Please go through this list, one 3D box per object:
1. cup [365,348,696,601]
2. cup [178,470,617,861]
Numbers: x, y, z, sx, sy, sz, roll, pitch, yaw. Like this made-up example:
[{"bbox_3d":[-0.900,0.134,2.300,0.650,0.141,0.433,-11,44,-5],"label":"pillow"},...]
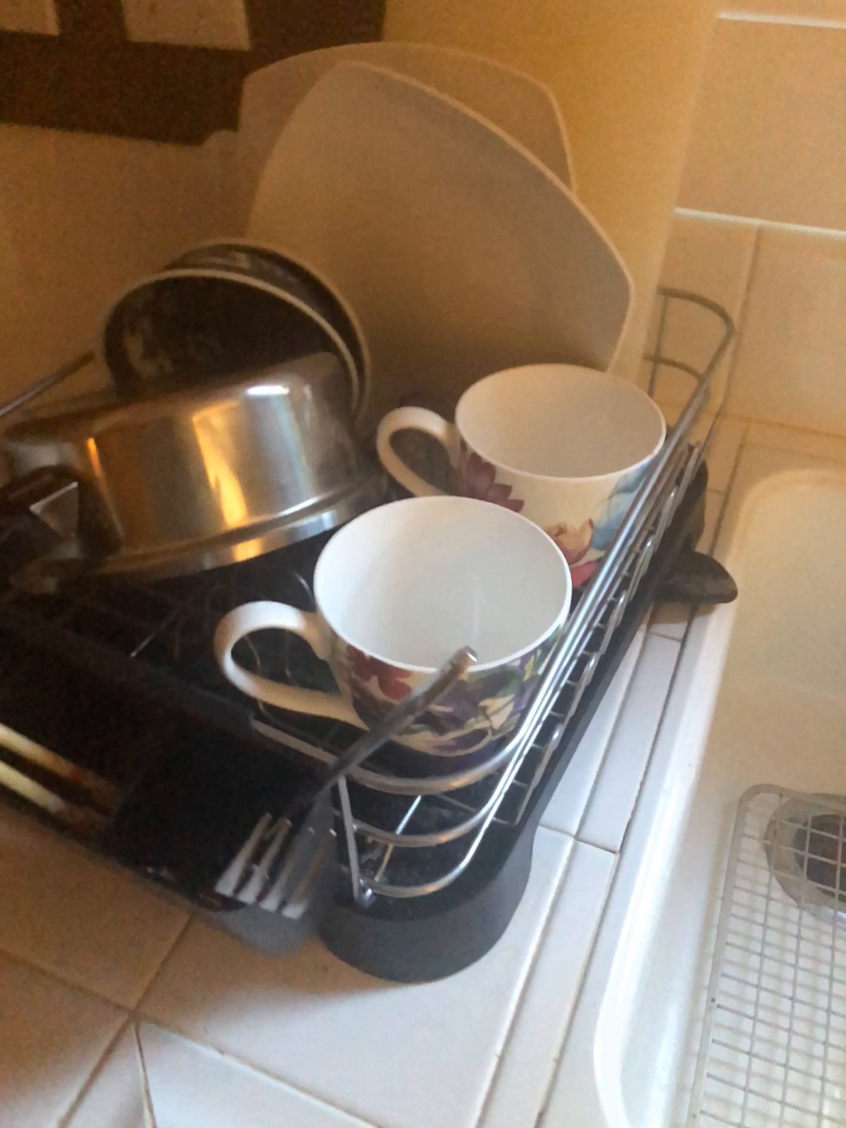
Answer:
[{"bbox_3d":[0.054,-0.052,0.527,0.160,0.089,0.111,-1,42,1],"label":"cup"},{"bbox_3d":[-0.015,0.040,0.421,0.160,0.089,0.111,-12,43,-11],"label":"cup"}]
